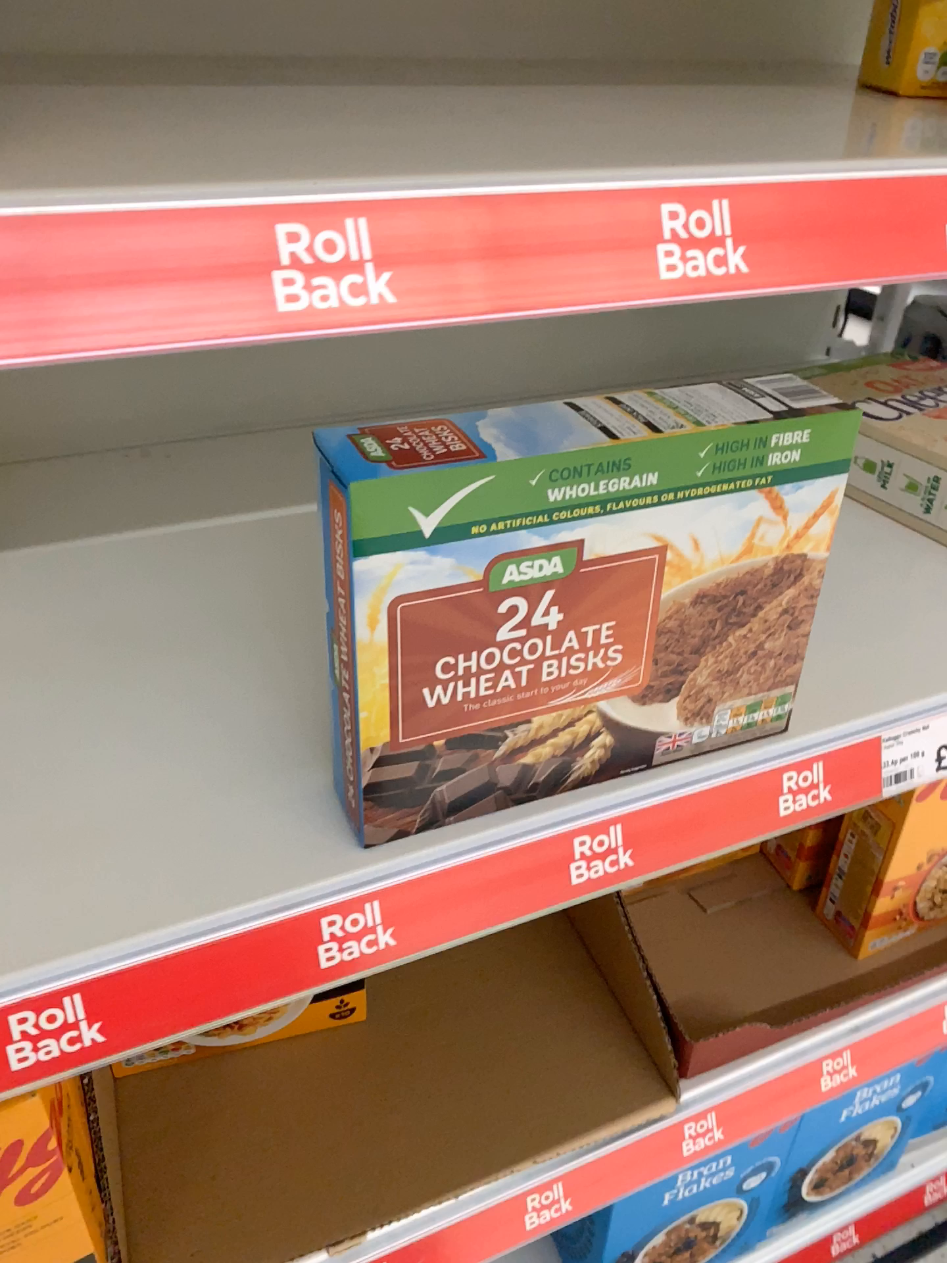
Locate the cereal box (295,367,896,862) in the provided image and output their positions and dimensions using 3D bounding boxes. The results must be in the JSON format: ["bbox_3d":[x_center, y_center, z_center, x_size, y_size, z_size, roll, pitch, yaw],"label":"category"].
[{"bbox_3d":[0.053,-0.014,0.458,0.251,0.178,0.071,-11,35,-21],"label":"cereal box"}]
